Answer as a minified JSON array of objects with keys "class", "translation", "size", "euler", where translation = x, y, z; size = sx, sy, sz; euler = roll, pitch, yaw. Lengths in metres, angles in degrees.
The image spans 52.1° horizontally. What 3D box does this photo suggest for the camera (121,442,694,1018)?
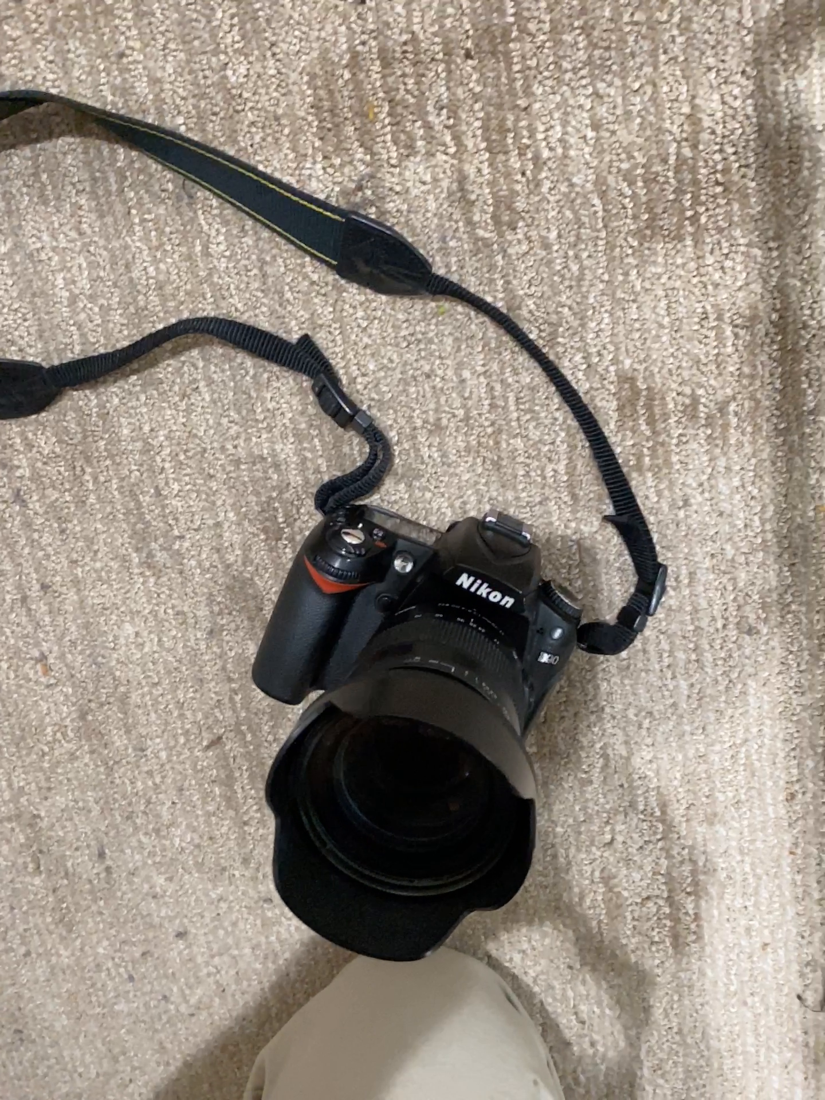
[{"class":"camera","translation":[0.002,0.049,0.330],"size":[0.138,0.166,0.114],"euler":[24,106,0]}]
